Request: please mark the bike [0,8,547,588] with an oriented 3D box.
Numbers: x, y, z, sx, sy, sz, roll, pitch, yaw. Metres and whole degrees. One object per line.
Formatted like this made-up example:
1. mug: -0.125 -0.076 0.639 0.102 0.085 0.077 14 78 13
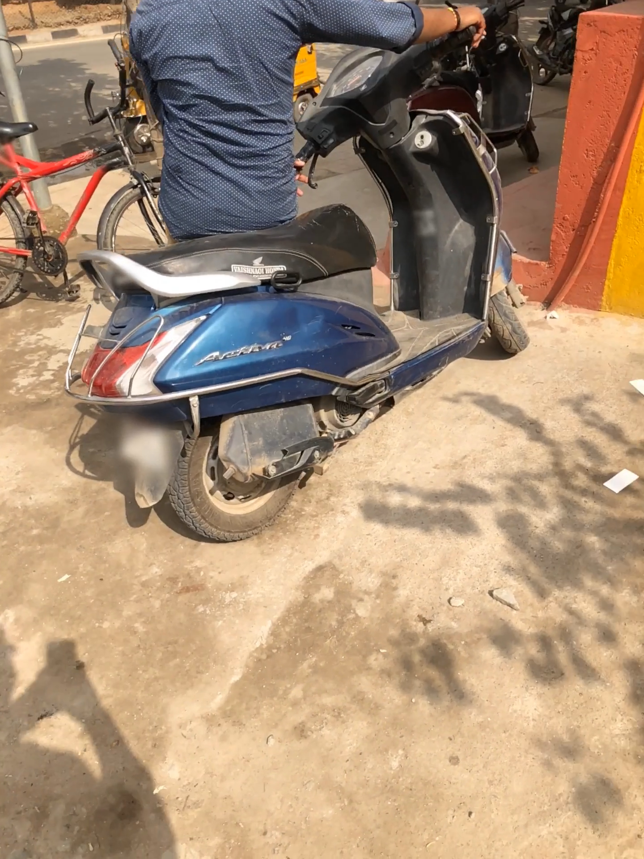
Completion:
1. bike: 0.003 -0.562 2.252 0.625 1.187 1.642 23 43 31
